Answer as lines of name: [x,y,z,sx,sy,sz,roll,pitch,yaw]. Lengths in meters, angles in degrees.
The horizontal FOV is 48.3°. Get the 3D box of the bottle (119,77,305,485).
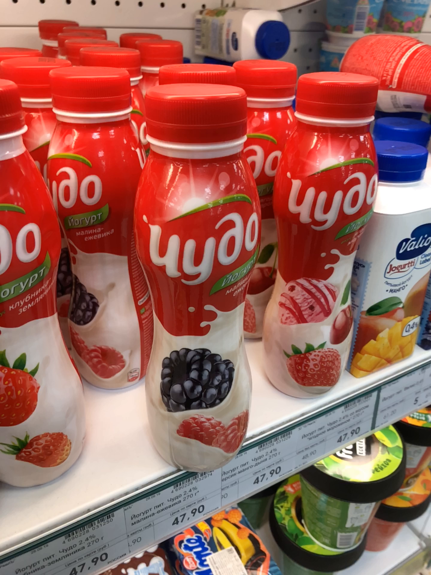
bottle: [-0.006,0.004,0.225,0.054,0.181,0.050,2,30,-1]

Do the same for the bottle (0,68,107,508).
bottle: [-0.089,0.007,0.209,0.054,0.181,0.050,2,30,-1]

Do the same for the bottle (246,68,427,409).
bottle: [0.059,-0.023,0.274,0.054,0.181,0.050,2,30,-1]
